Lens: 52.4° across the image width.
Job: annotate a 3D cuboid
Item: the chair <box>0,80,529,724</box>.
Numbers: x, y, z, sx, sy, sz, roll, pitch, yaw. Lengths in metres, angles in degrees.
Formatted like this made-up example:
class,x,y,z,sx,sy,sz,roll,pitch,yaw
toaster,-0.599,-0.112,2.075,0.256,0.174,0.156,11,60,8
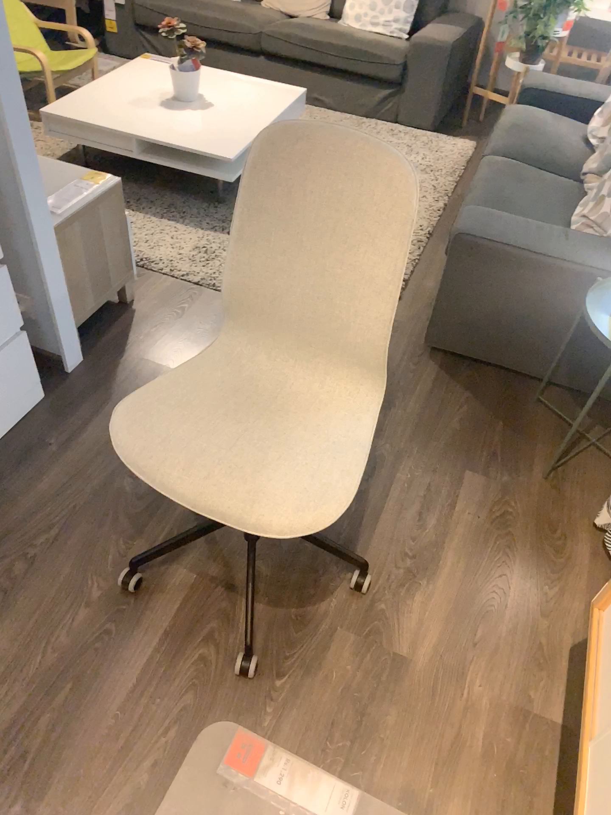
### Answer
class,x,y,z,sx,sy,sz,roll,pitch,yaw
chair,-0.069,0.013,1.319,0.630,1.007,0.712,21,47,13
